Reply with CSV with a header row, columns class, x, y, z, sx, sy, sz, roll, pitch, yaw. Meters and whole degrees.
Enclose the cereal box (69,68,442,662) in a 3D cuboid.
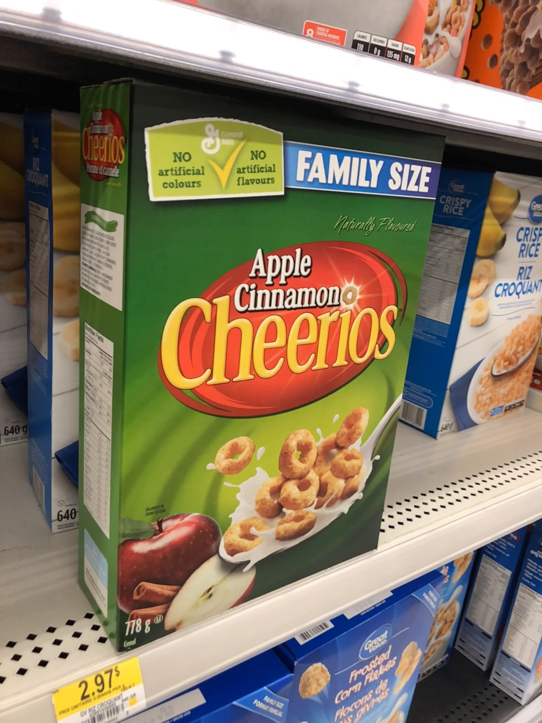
class,x,y,z,sx,sy,sz,roll,pitch,yaw
cereal box,-0.016,0.002,0.448,0.241,0.358,0.090,-7,21,-36
